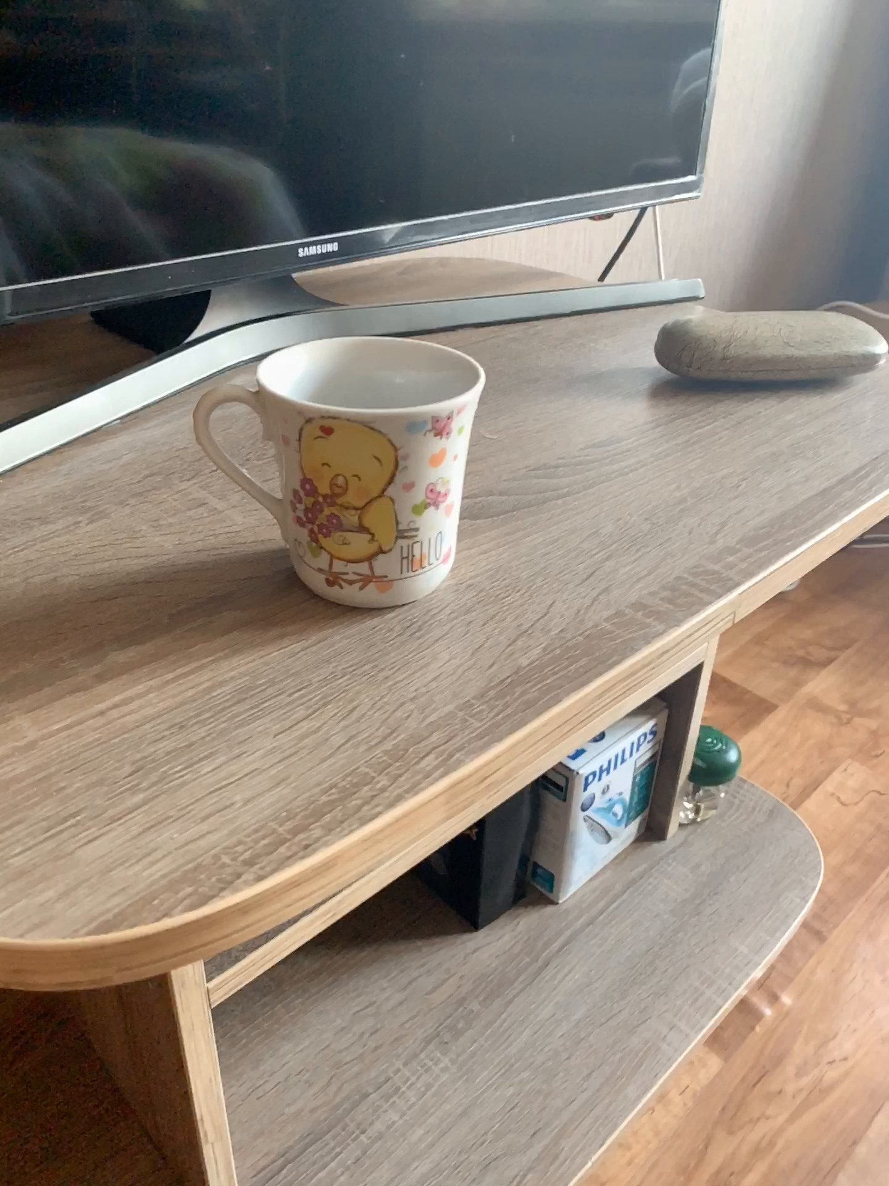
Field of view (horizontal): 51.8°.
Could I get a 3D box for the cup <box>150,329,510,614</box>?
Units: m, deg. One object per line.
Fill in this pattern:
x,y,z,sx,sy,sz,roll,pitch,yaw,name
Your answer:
-0.039,-0.046,0.332,0.110,0.080,0.070,-1,31,-6,cup
